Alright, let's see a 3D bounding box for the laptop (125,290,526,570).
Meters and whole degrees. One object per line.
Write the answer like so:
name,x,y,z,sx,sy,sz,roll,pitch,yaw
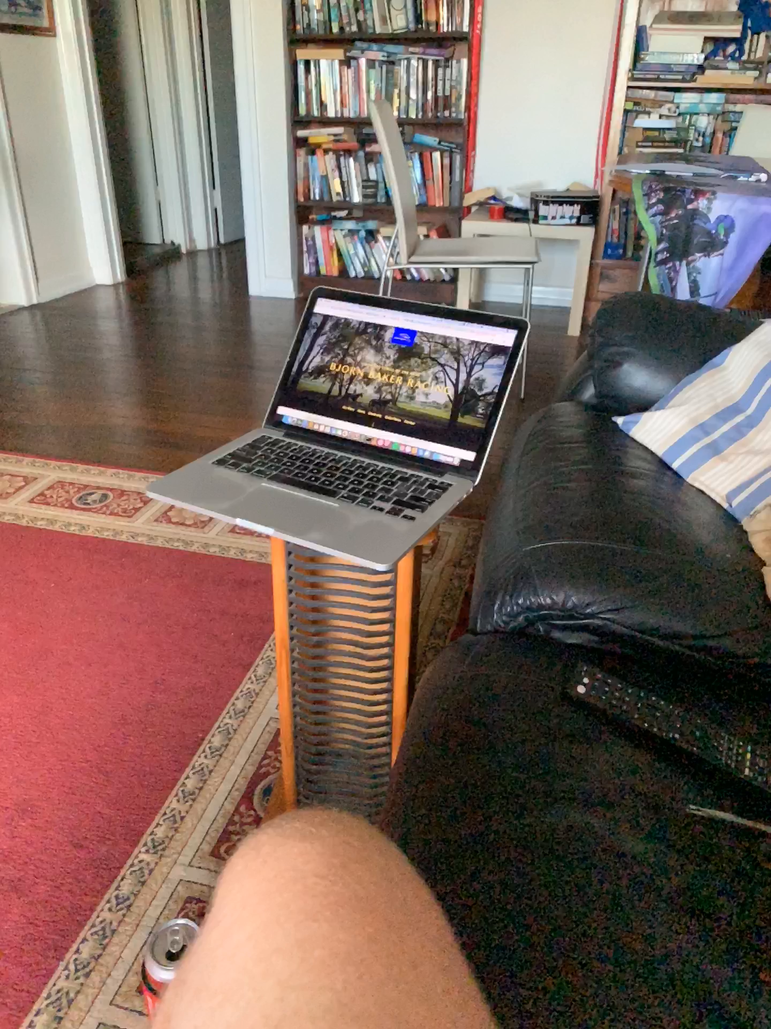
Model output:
laptop,-0.050,-0.127,0.907,0.313,0.160,0.341,16,31,25
